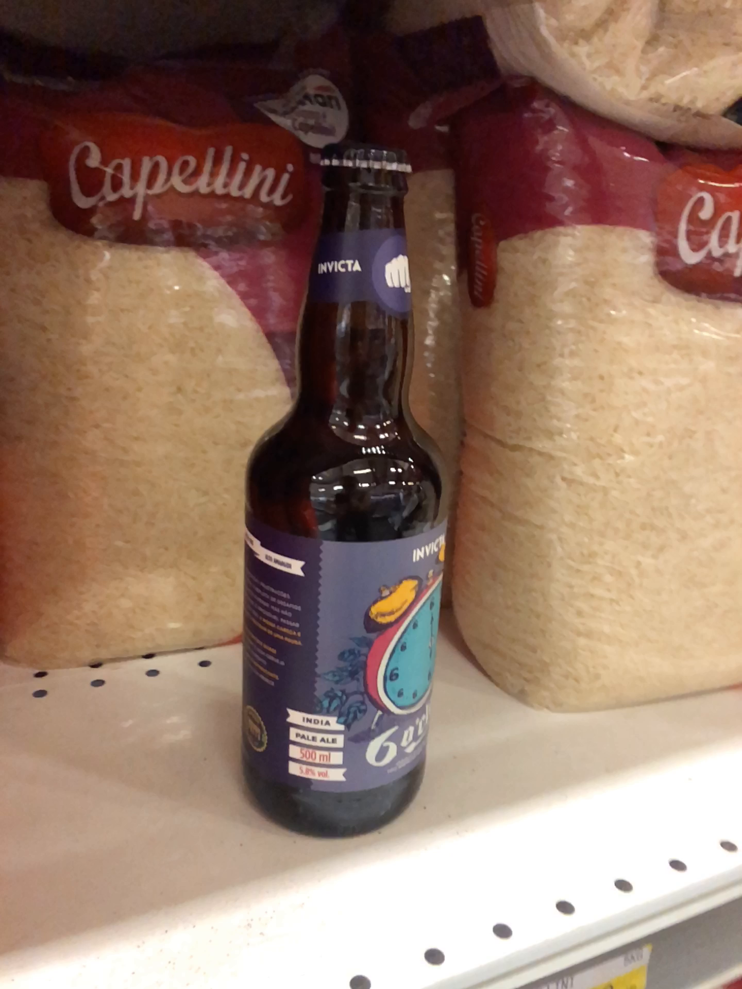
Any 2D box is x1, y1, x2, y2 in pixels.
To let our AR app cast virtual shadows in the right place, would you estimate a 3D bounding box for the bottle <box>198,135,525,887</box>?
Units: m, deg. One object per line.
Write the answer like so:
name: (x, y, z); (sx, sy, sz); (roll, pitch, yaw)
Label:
bottle: (-0.008, 0.006, 0.282); (0.070, 0.229, 0.070); (4, 20, -1)
